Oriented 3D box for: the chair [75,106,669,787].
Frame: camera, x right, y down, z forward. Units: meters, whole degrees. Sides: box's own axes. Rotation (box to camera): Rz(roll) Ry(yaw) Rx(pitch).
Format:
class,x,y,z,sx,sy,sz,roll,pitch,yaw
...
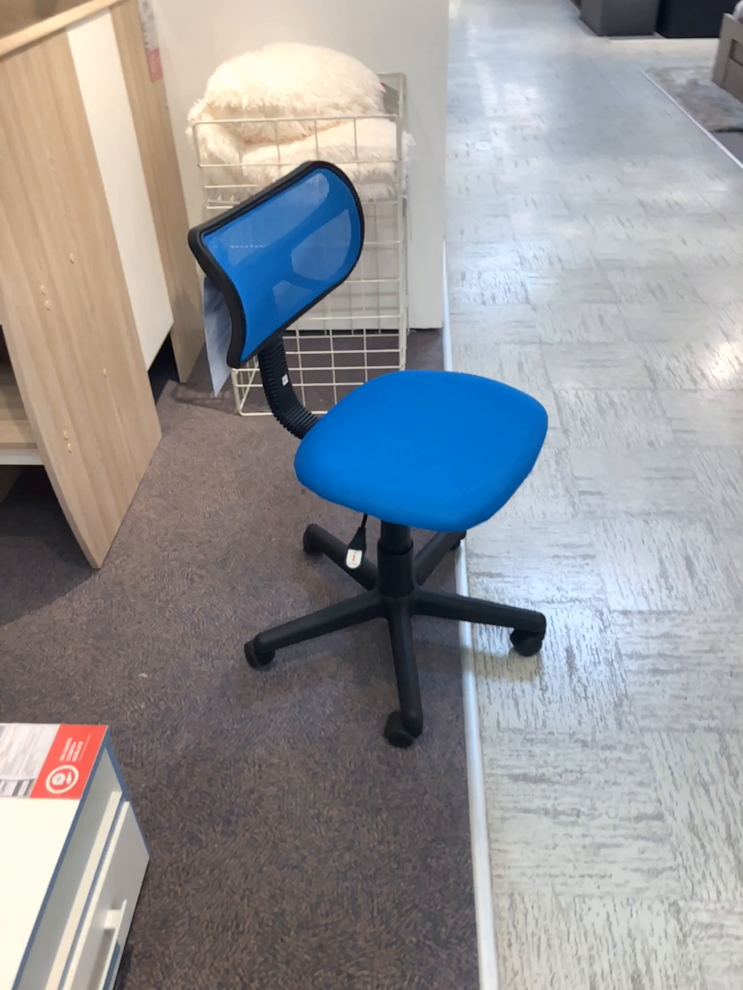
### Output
class,x,y,z,sx,sy,sz,roll,pitch,yaw
chair,0.073,-0.120,1.326,0.610,0.795,0.664,11,39,17
